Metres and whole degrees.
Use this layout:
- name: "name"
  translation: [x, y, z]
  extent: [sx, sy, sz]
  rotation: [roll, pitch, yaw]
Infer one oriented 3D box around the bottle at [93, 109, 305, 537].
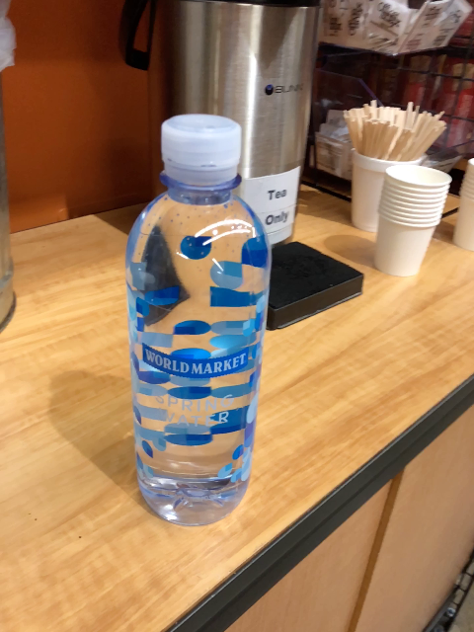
- name: "bottle"
  translation: [-0.019, 0.013, 0.255]
  extent: [0.070, 0.199, 0.070]
  rotation: [3, 31, -2]
